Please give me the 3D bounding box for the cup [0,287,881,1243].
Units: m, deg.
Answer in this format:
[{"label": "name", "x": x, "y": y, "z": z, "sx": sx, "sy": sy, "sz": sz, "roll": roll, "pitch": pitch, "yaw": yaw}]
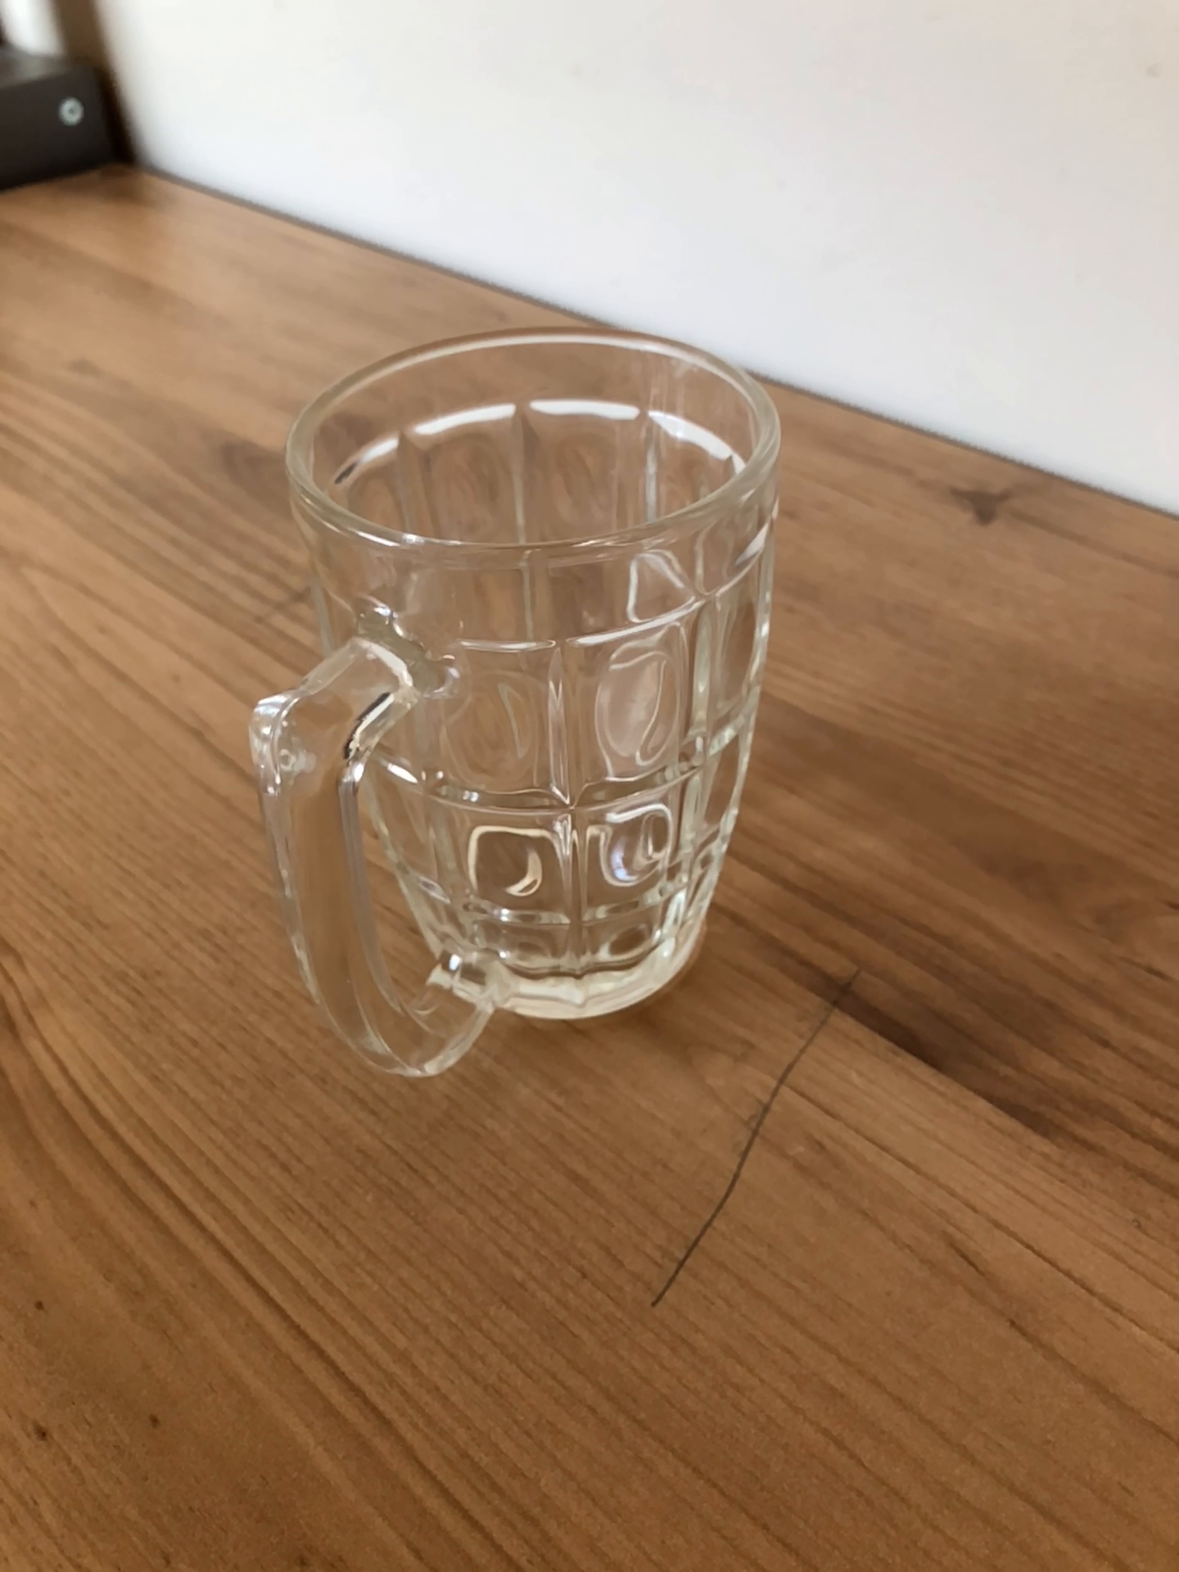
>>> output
[{"label": "cup", "x": -0.016, "y": -0.013, "z": 0.237, "sx": 0.088, "sy": 0.102, "sz": 0.120, "roll": 18, "pitch": 44, "yaw": 25}]
